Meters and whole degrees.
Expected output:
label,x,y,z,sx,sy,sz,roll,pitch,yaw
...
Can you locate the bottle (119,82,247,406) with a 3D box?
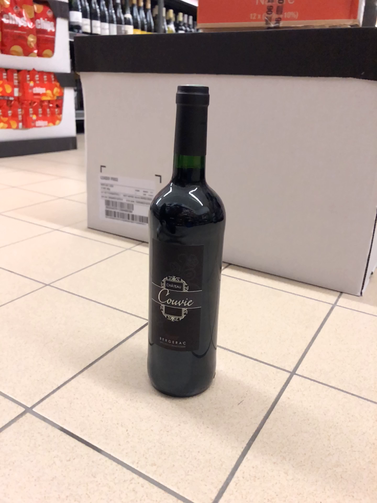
label,x,y,z,sx,sy,sz,roll,pitch,yaw
bottle,-0.005,-0.006,0.406,0.090,0.289,0.091,2,20,-1
